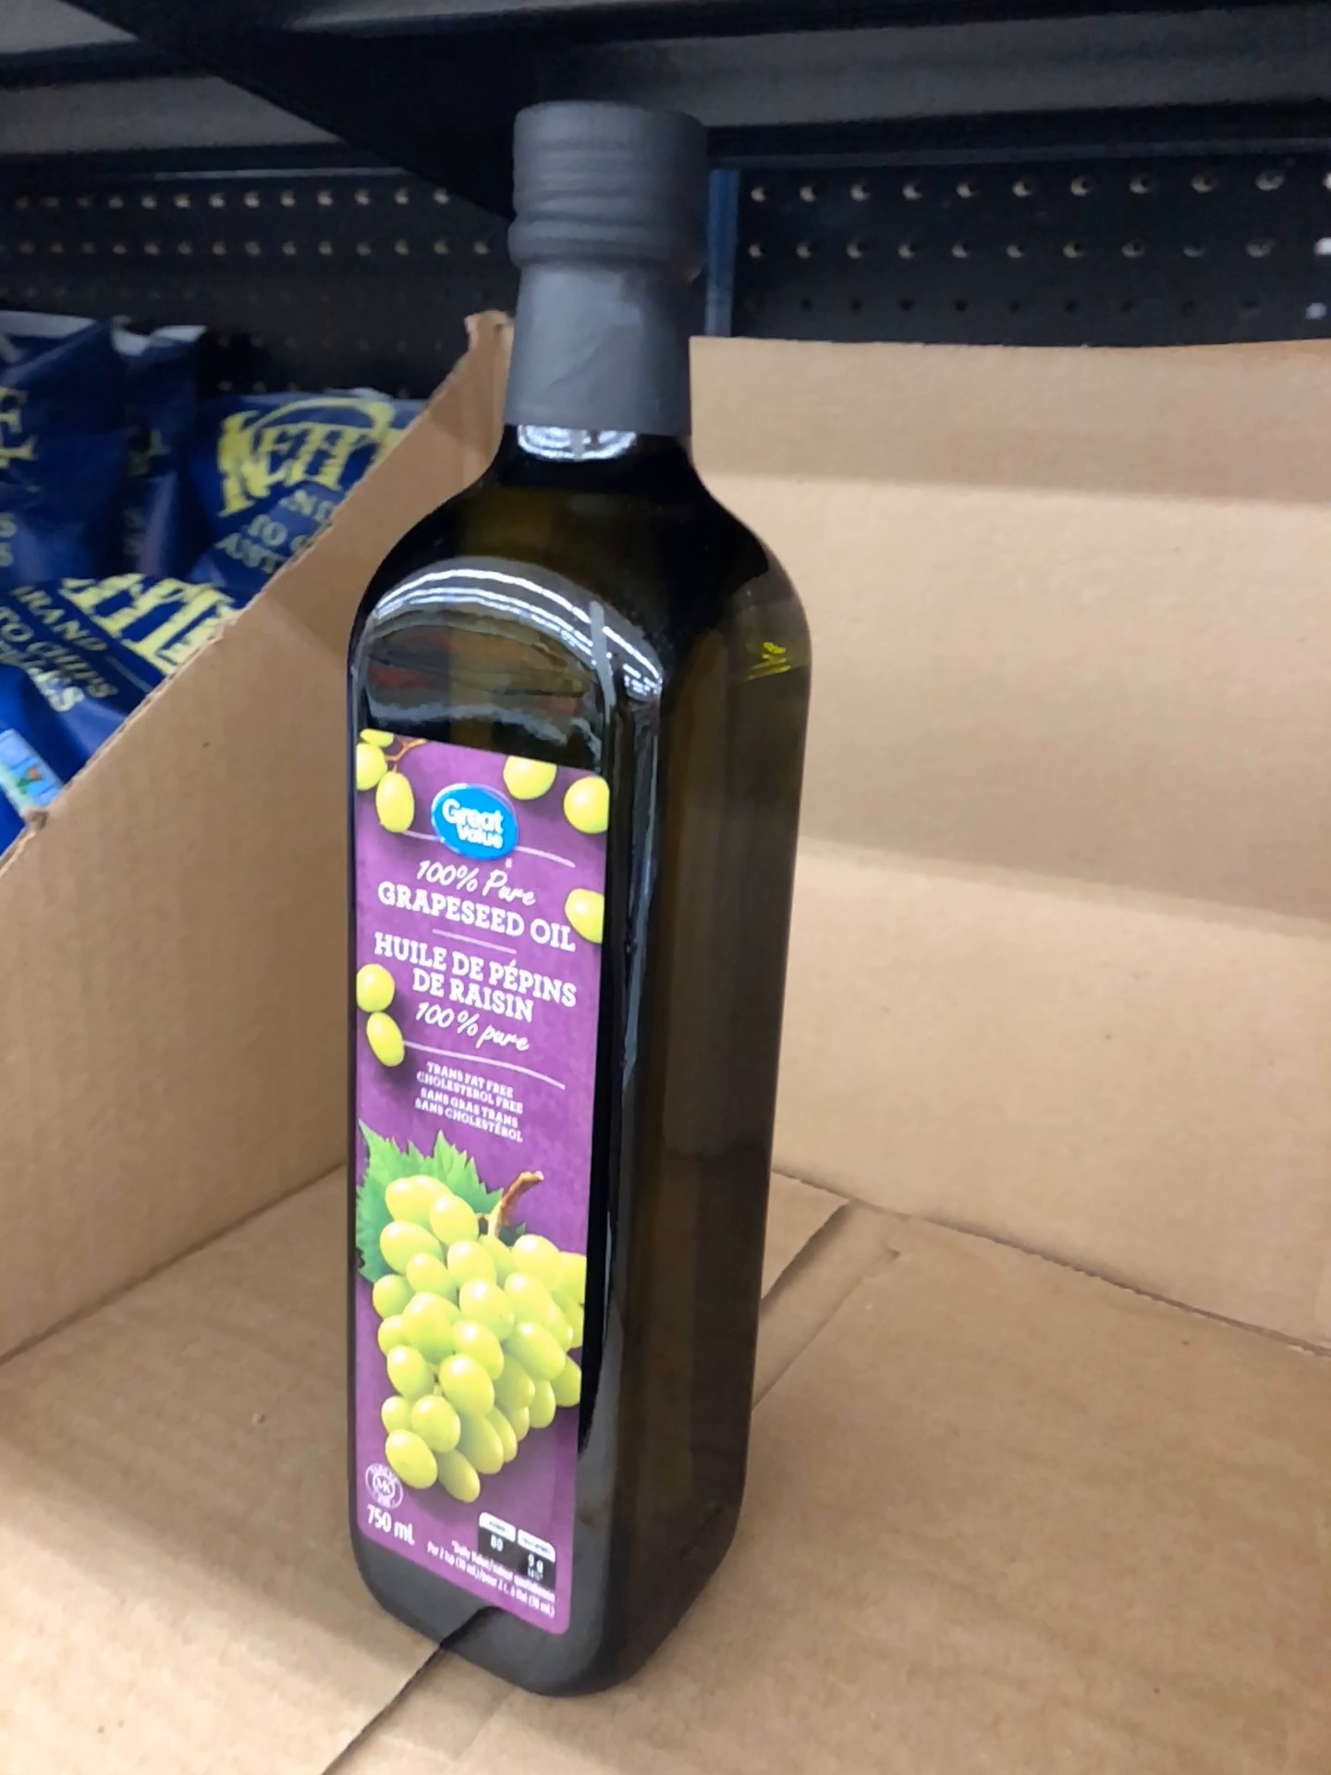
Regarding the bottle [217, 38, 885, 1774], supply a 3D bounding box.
[{"bbox_3d":[-0.020,0.013,0.266,0.080,0.278,0.060,12,21,28],"label":"bottle"}]
